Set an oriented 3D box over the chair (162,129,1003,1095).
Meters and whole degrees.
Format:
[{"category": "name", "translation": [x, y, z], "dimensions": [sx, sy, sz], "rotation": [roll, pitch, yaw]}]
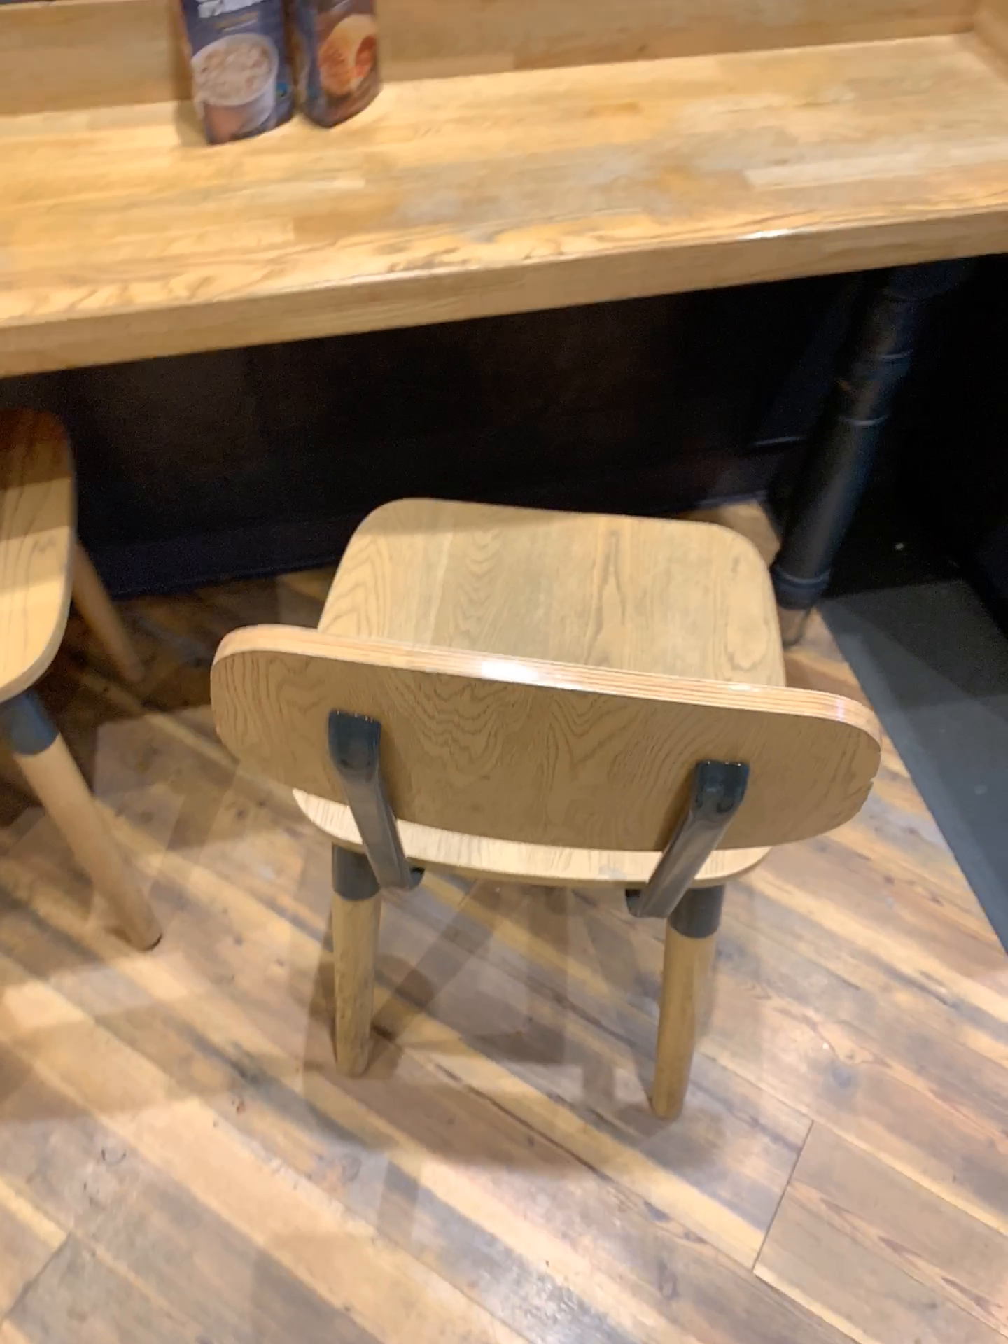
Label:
[{"category": "chair", "translation": [0.058, -0.005, 0.930], "dimensions": [0.410, 0.684, 0.504], "rotation": [6, 52, 4]}]
